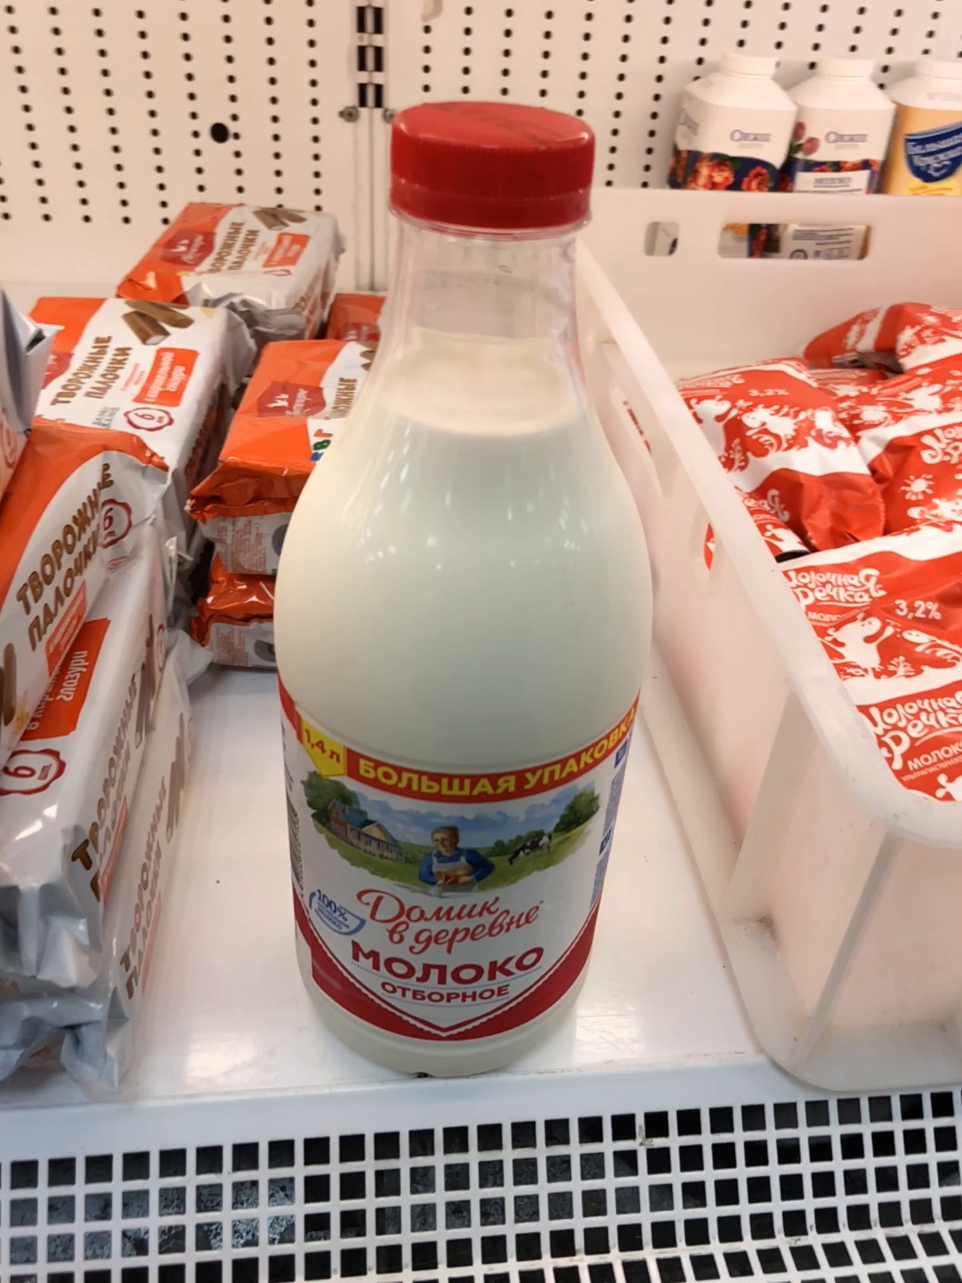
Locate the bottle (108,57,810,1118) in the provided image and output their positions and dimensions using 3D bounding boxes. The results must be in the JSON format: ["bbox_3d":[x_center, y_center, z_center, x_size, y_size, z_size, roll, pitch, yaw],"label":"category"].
[{"bbox_3d":[-0.010,0.010,0.285,0.110,0.278,0.091,1,37,-3],"label":"bottle"}]
